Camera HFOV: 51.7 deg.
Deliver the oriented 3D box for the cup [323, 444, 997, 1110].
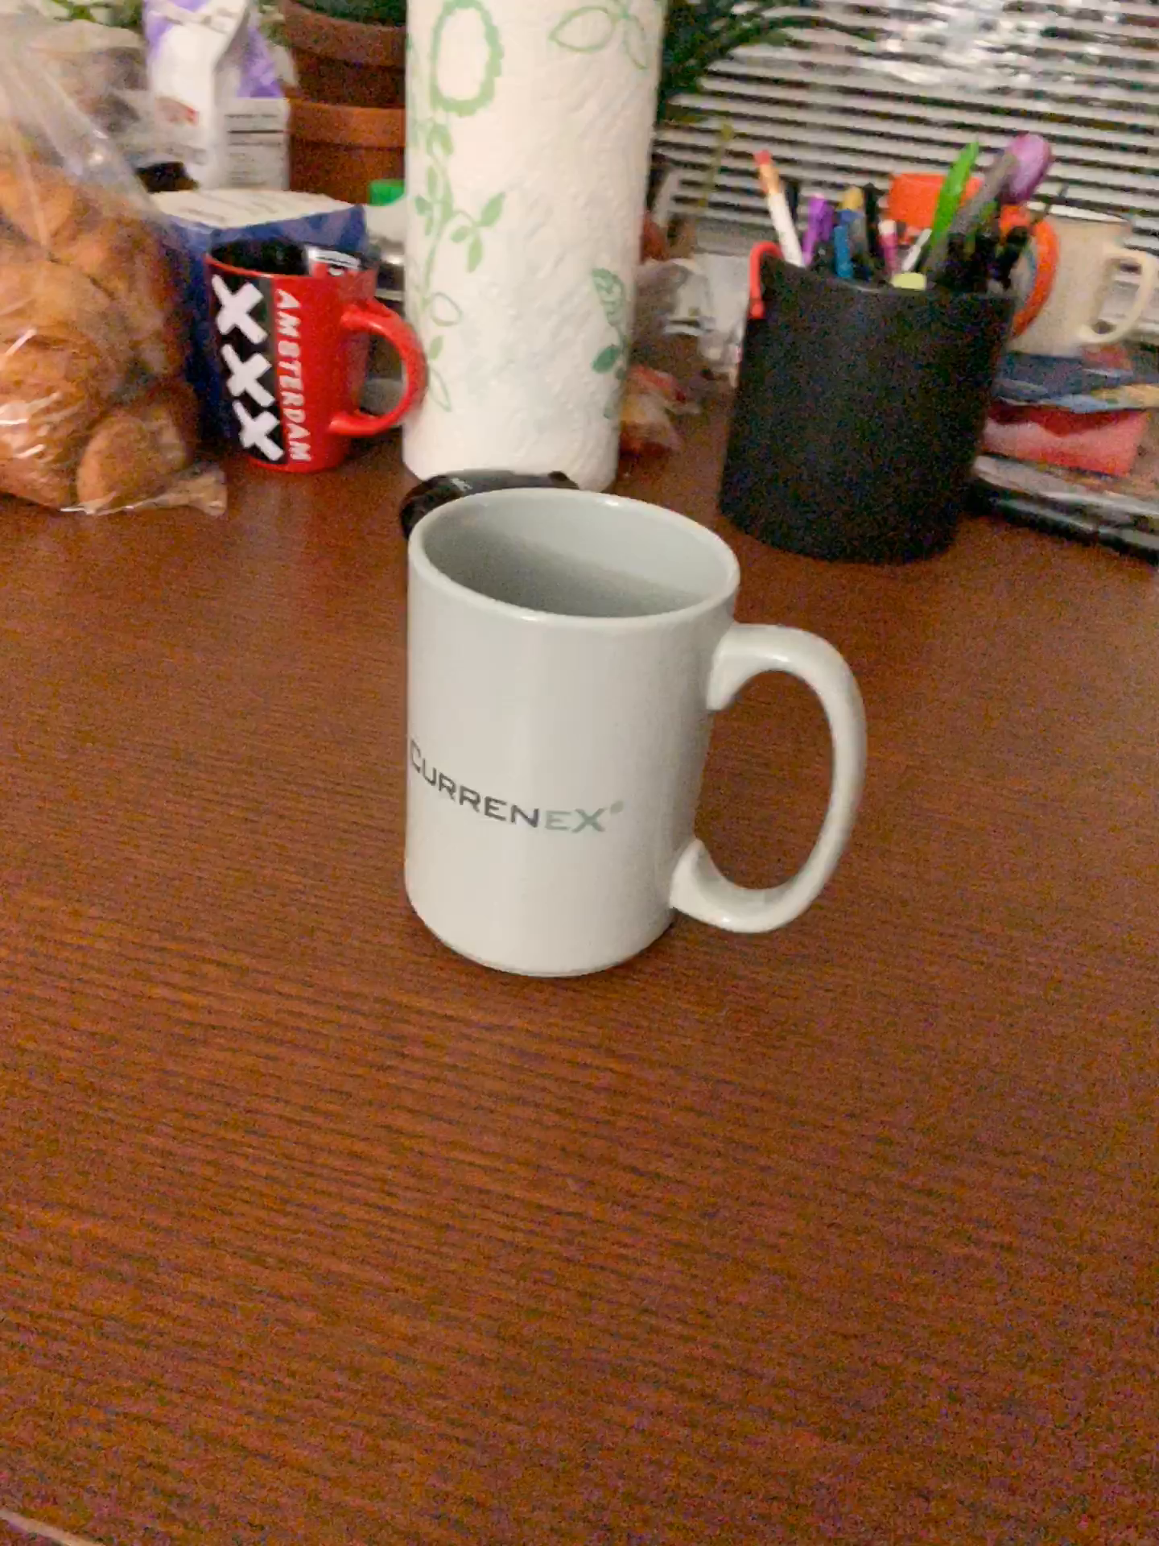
[{"bbox_3d":[0.019,-0.008,0.326,0.140,0.109,0.100,19,35,19],"label":"cup"}]
